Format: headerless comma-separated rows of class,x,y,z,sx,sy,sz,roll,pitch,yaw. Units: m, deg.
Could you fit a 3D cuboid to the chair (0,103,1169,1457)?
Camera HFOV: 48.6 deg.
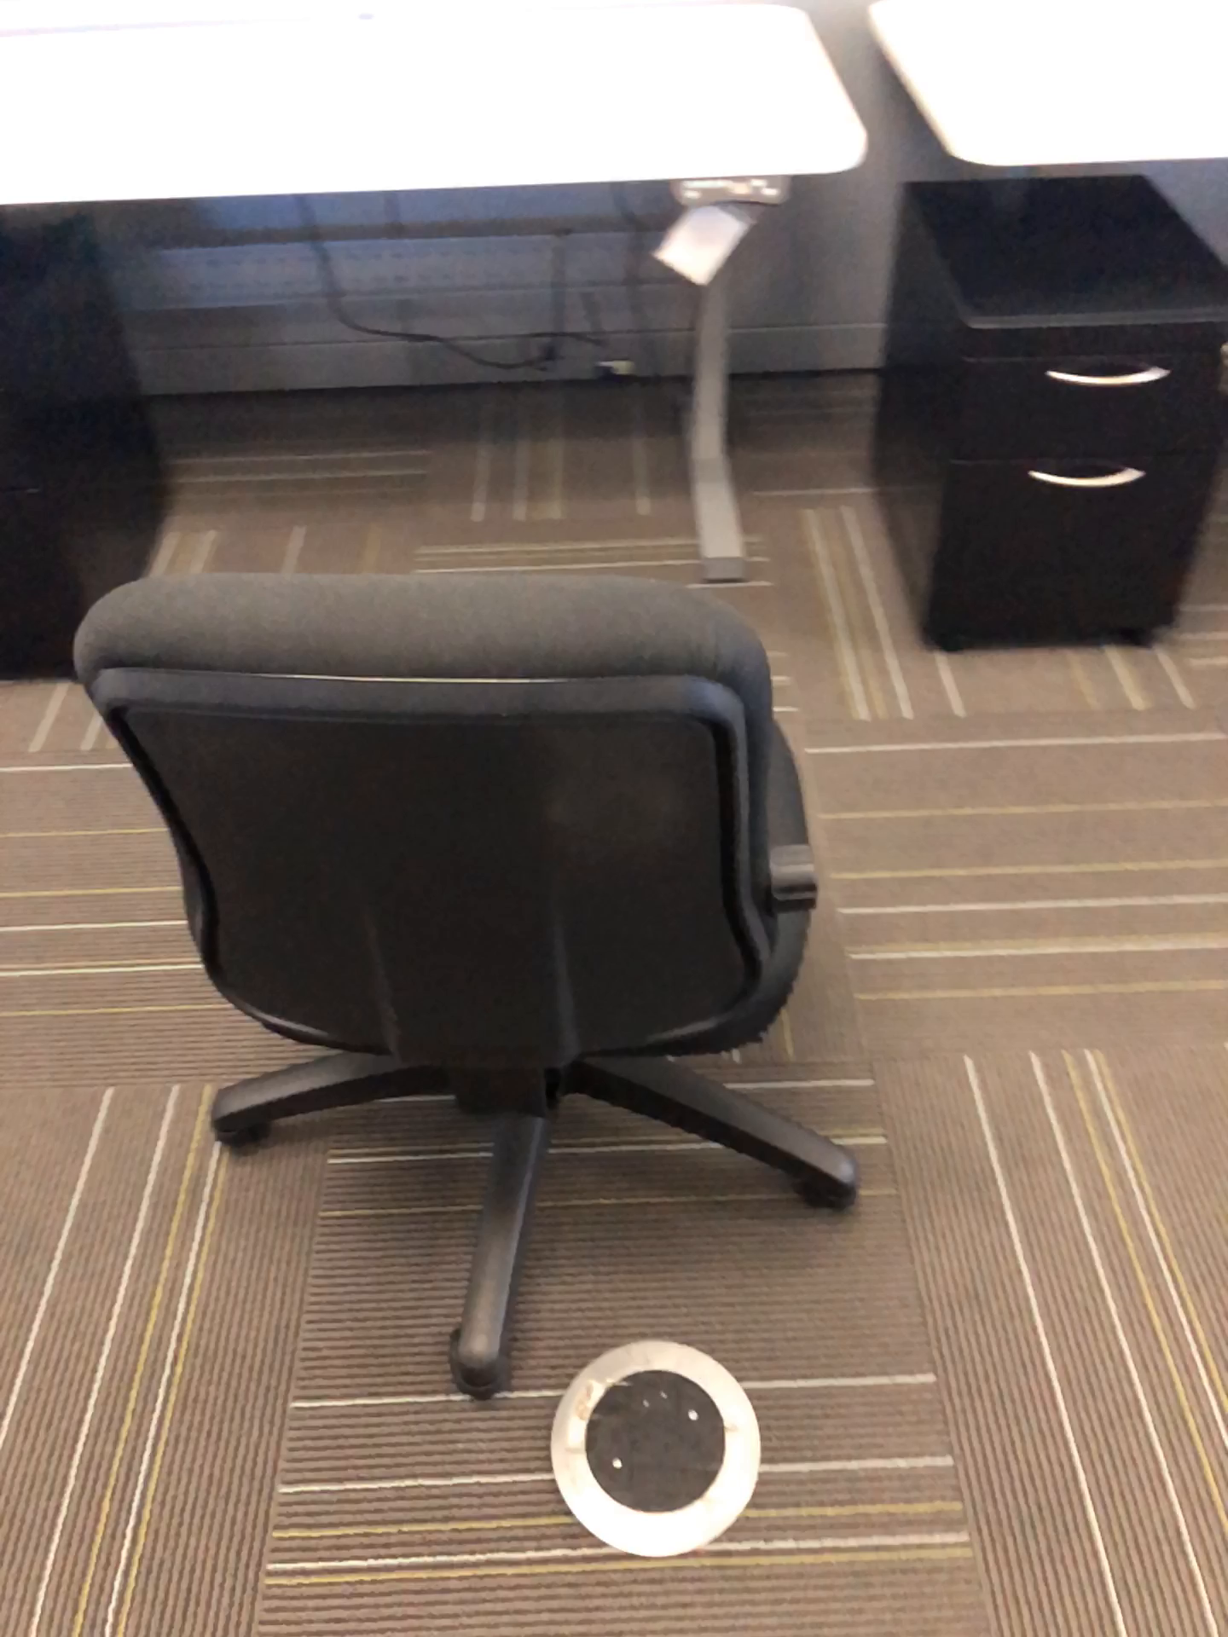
chair,-0.136,-0.032,1.175,0.770,0.846,0.764,-2,42,0
